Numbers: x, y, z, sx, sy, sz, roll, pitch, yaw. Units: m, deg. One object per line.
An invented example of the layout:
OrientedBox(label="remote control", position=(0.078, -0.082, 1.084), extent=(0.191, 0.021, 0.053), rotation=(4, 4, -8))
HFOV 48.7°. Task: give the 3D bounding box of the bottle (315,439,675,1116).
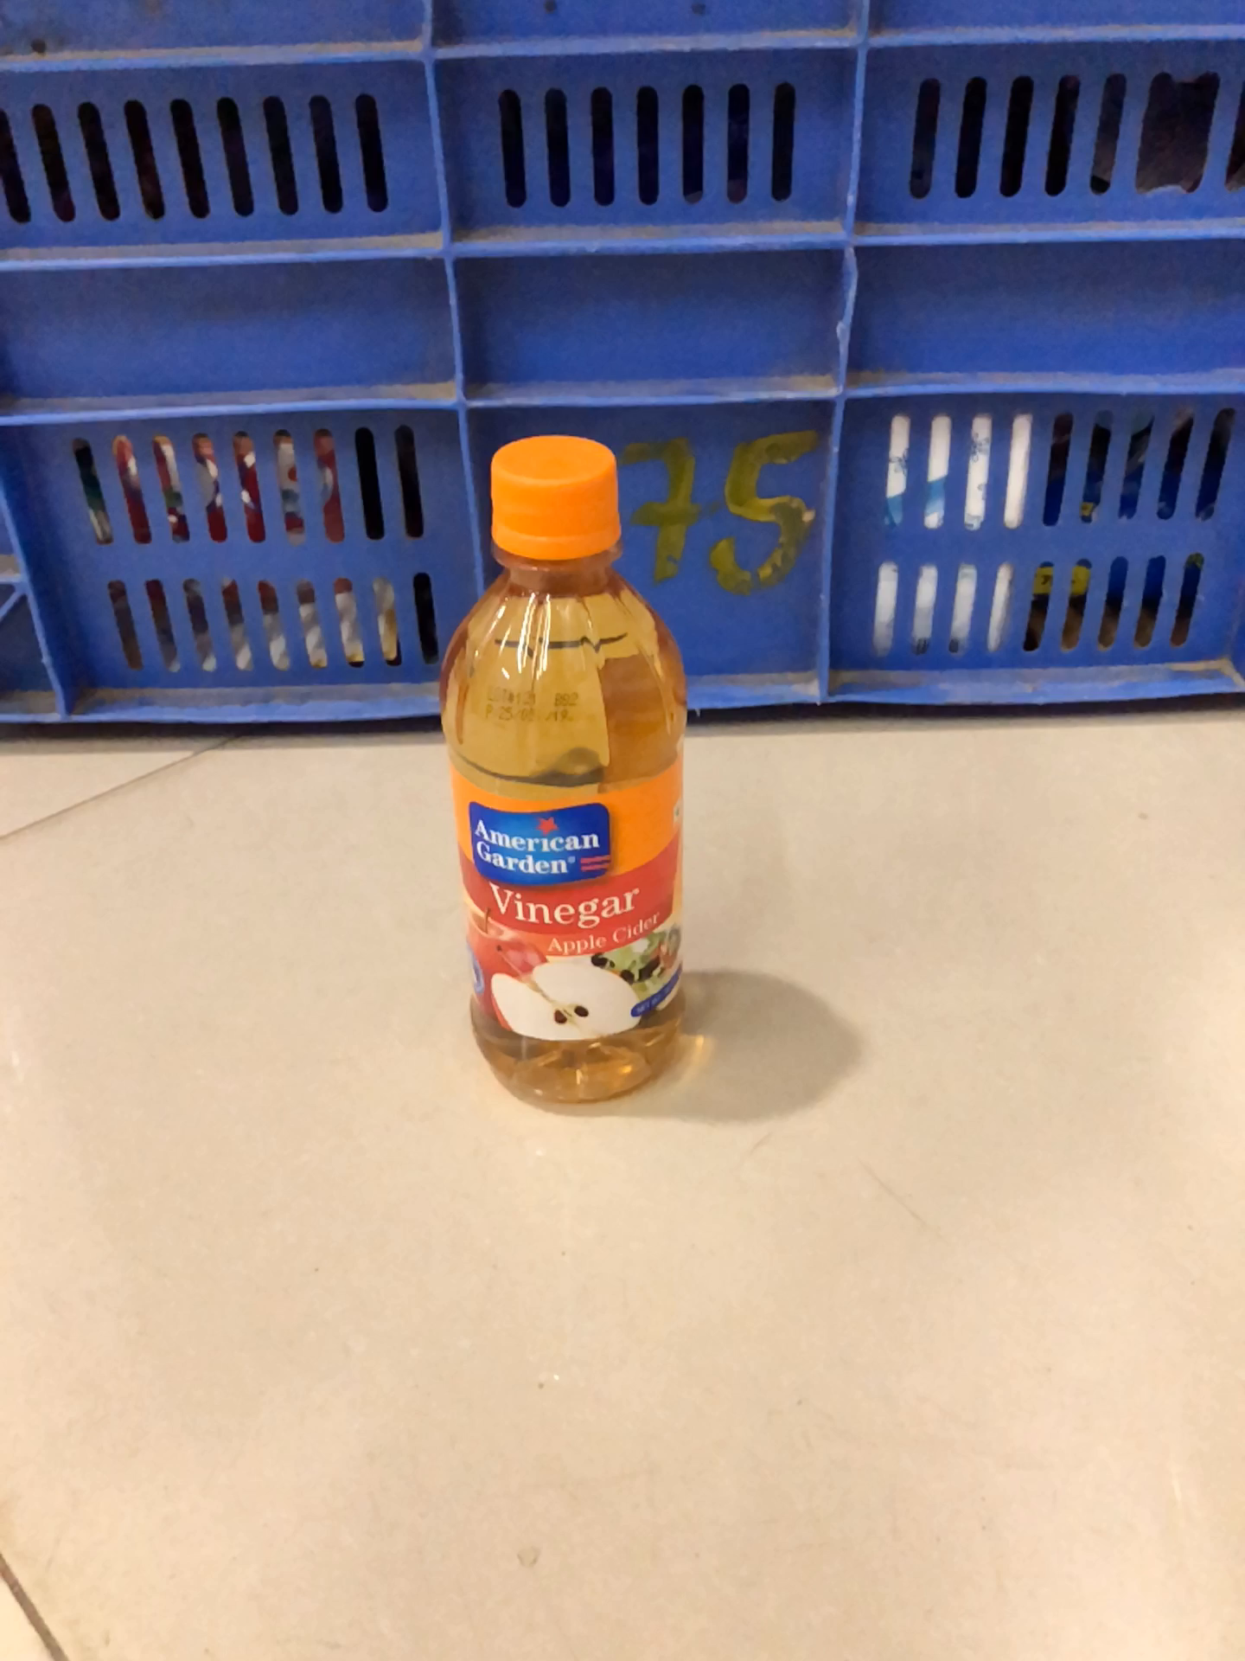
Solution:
OrientedBox(label="bottle", position=(-0.026, -0.011, 0.376), extent=(0.070, 0.169, 0.071), rotation=(-2, 34, 1))
